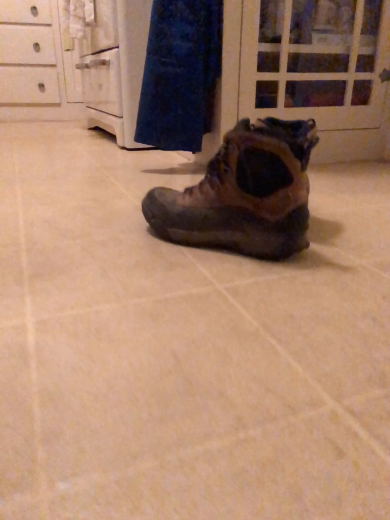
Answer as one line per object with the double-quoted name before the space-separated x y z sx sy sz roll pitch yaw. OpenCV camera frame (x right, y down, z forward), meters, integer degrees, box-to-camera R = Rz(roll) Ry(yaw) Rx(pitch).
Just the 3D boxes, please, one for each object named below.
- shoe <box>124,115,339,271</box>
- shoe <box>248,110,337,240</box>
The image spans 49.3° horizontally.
"shoe" 0.048 -0.122 0.672 0.299 0.185 0.122 13 26 27
"shoe" 0.167 -0.178 0.810 0.113 0.185 0.294 3 23 5
